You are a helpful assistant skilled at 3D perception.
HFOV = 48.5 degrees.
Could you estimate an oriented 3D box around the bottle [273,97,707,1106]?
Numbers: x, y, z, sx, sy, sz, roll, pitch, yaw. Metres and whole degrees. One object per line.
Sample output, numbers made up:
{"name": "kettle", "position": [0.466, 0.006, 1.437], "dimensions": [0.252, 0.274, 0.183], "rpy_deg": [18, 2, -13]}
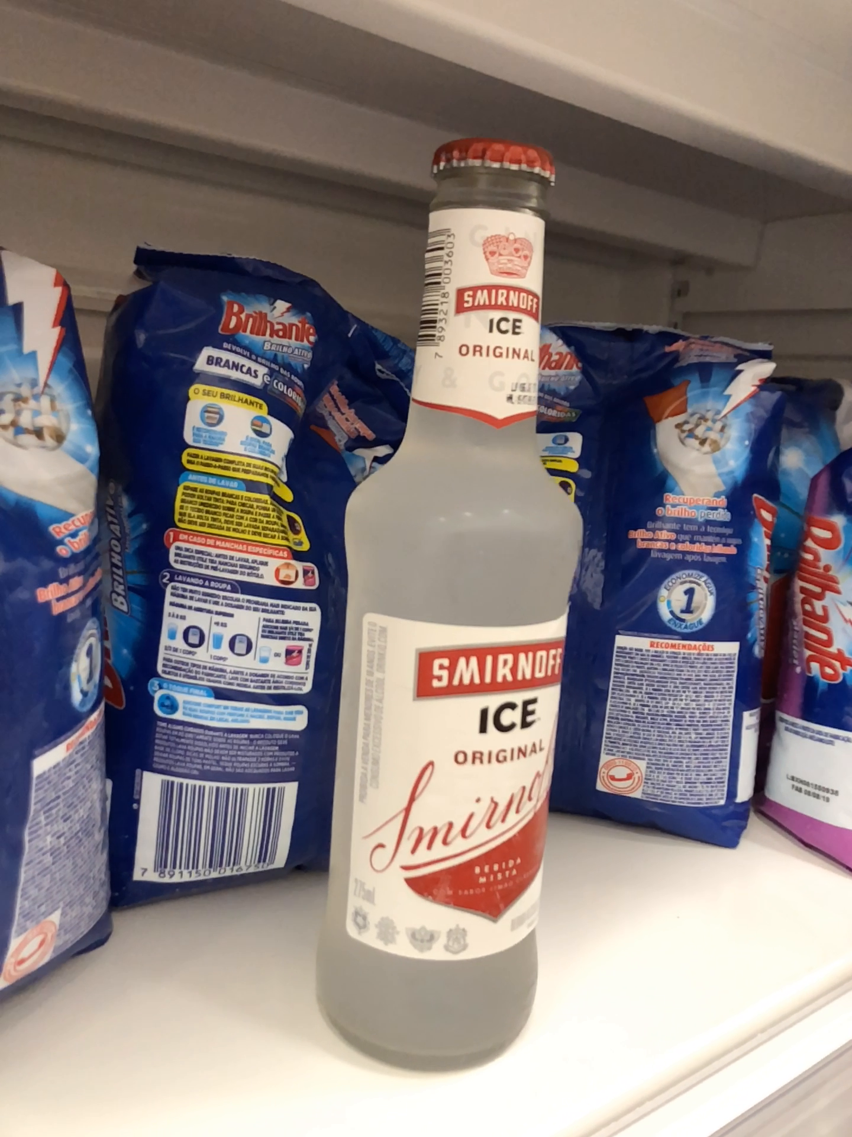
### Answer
{"name": "bottle", "position": [0.010, 0.009, 0.234], "dimensions": [0.070, 0.209, 0.060], "rpy_deg": [-1, 11, -28]}
